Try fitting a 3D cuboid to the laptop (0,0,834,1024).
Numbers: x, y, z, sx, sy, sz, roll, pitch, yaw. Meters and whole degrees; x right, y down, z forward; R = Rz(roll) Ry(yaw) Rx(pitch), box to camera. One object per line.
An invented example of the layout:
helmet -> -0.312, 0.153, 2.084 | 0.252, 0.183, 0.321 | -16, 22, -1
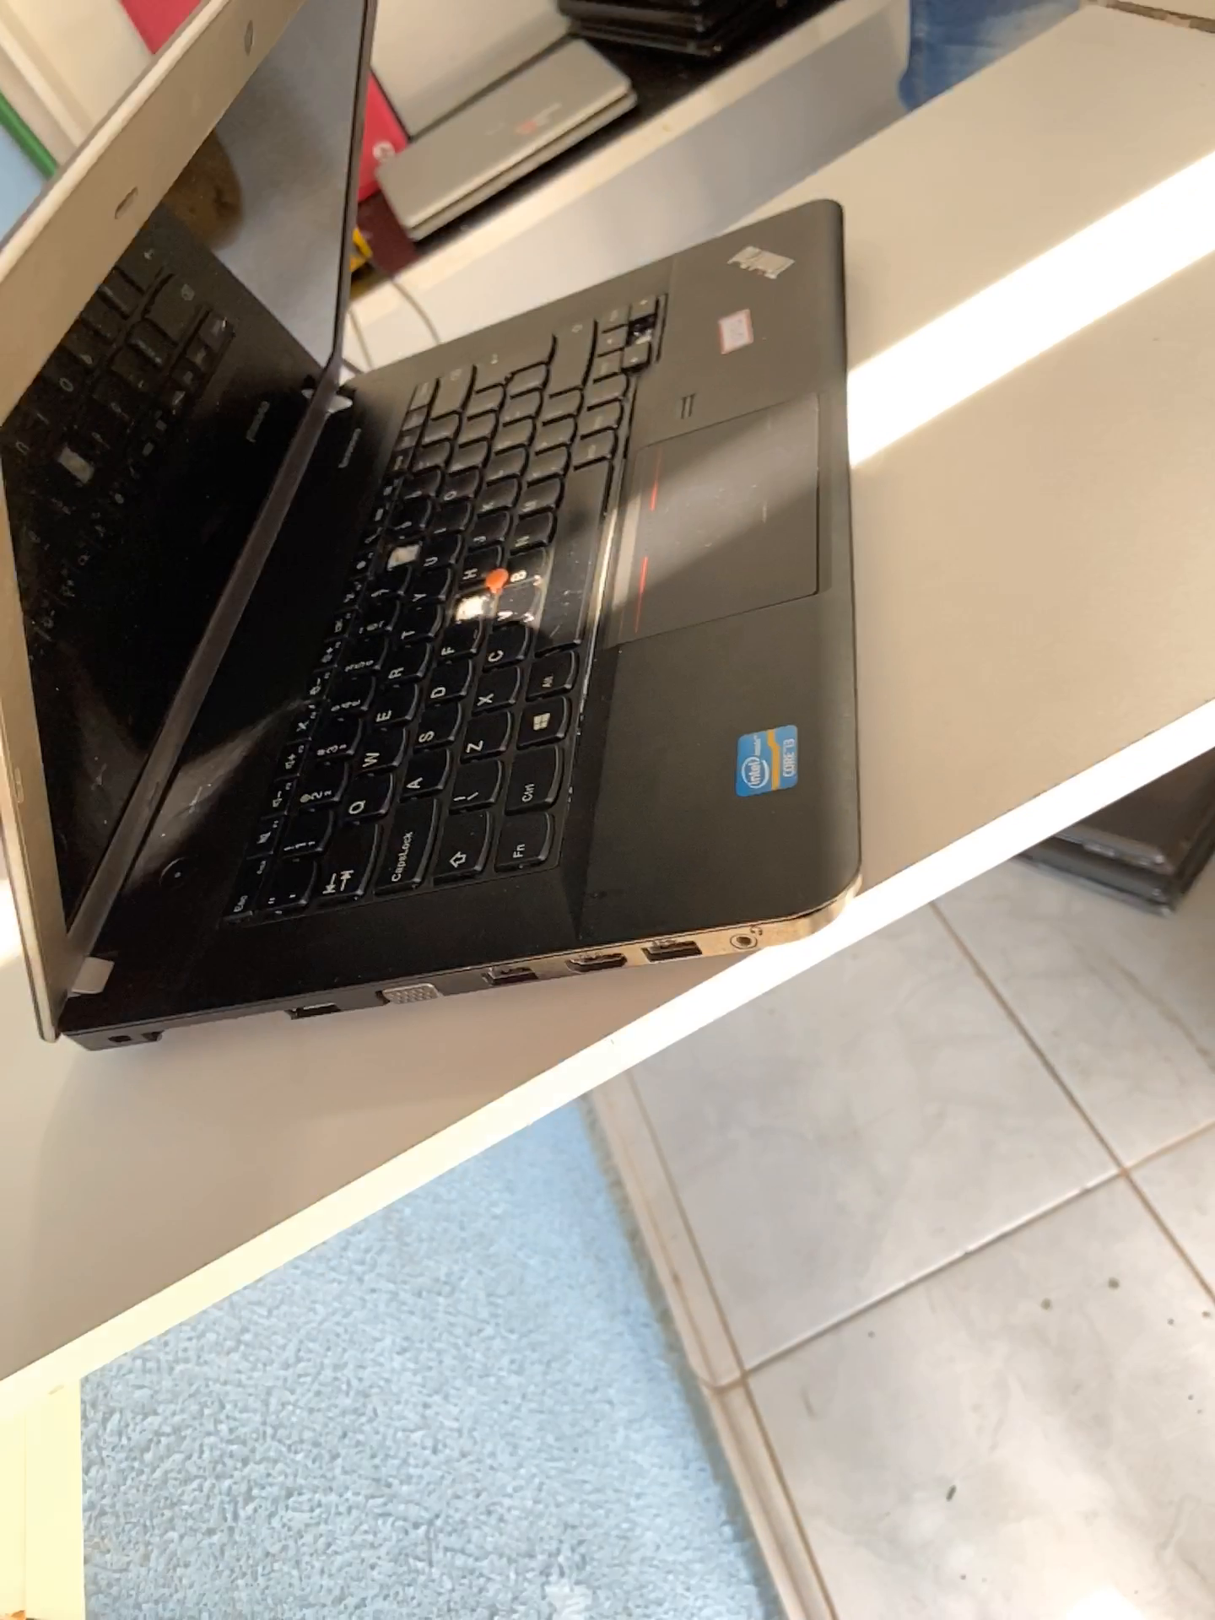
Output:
laptop -> -0.076, -0.138, 0.367 | 0.230, 0.165, 0.332 | -13, 46, 23
